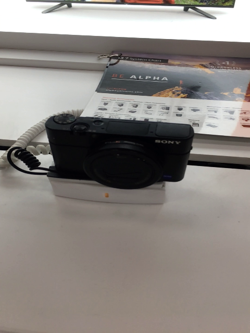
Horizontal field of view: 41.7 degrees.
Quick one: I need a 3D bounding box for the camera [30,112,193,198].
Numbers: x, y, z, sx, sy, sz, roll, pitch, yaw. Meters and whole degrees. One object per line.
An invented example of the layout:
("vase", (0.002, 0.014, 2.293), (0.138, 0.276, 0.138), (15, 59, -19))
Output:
("camera", (-0.008, -0.008, 0.269), (0.116, 0.066, 0.029), (5, 50, 5))
